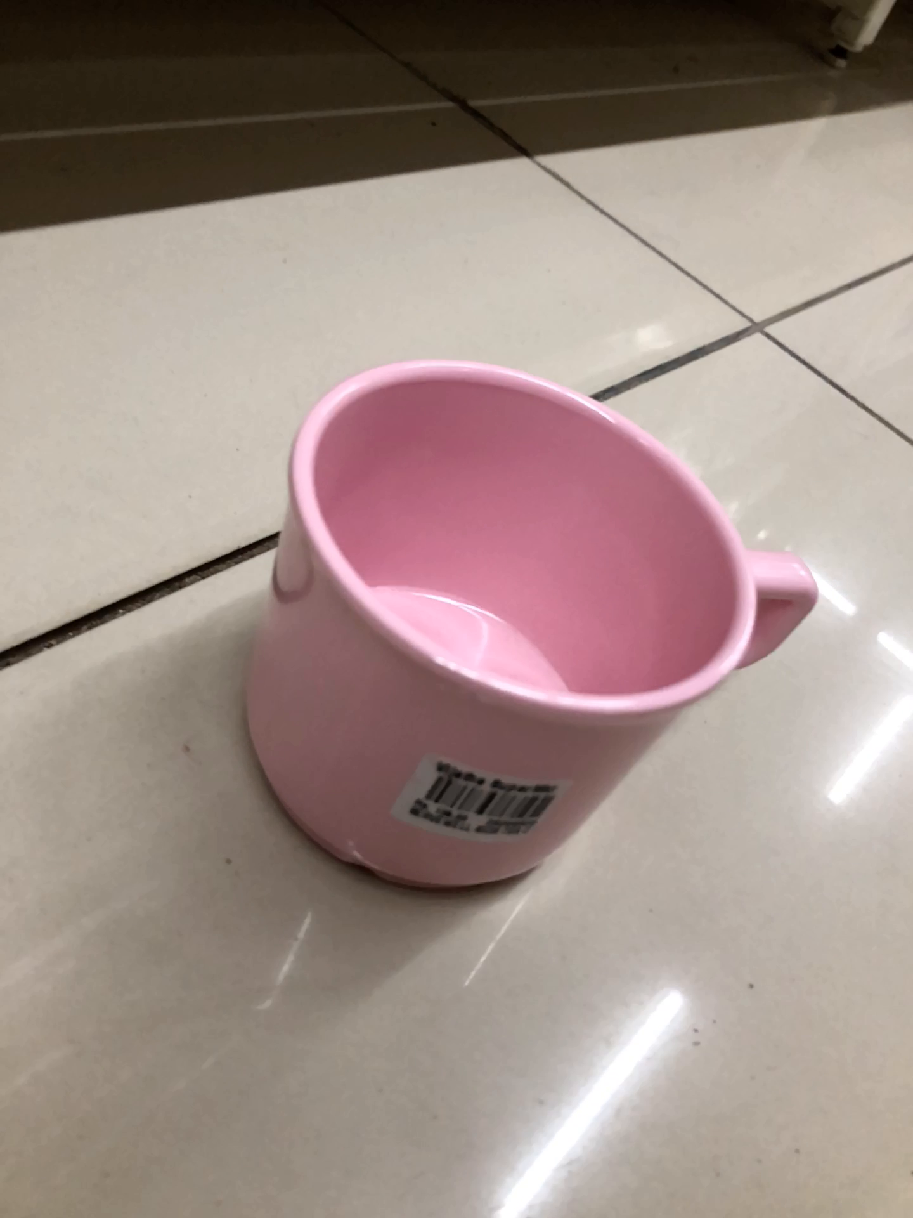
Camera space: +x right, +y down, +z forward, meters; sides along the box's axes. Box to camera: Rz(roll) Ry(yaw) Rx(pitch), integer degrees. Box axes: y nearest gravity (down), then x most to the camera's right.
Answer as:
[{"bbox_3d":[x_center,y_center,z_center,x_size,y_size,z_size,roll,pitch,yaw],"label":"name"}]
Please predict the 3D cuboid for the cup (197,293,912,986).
[{"bbox_3d":[0.017,0.007,0.188,0.110,0.079,0.080,1,48,-24],"label":"cup"}]
